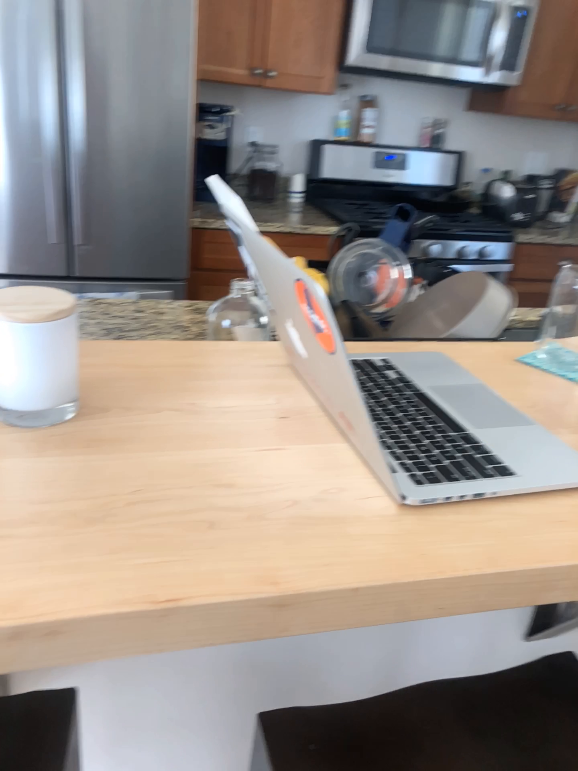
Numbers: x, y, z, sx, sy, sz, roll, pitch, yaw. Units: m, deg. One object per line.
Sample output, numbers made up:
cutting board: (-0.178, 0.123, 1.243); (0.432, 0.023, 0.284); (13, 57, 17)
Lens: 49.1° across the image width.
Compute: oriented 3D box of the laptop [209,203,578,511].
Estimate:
laptop: (0.113, -0.059, 0.670); (0.323, 0.188, 0.323); (-2, 26, -18)
